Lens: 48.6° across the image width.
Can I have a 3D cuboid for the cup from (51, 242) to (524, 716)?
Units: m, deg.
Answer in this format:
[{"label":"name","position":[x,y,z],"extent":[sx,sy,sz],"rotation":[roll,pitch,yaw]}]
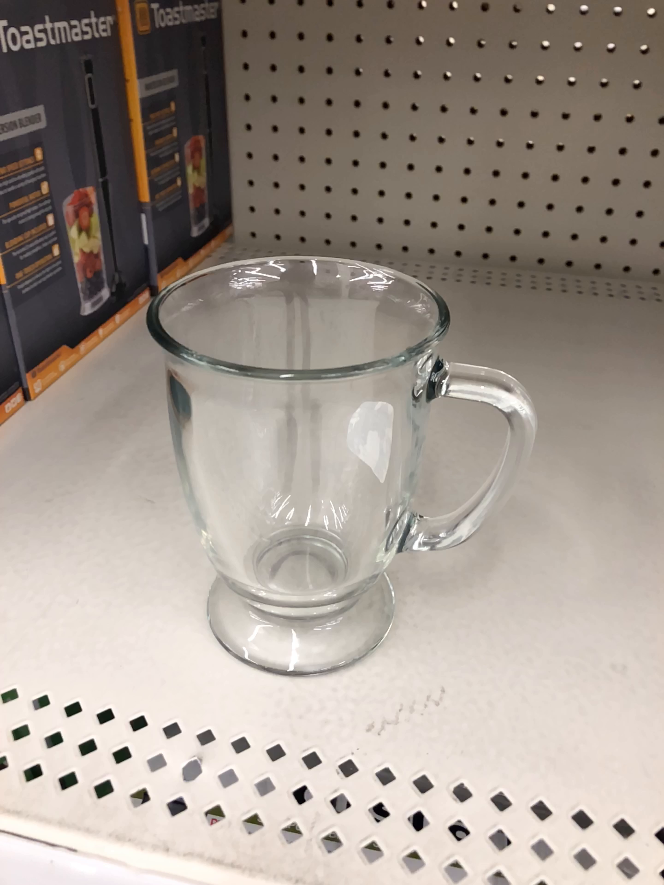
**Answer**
[{"label":"cup","position":[-0.005,0.006,0.288],"extent":[0.138,0.128,0.110],"rotation":[7,33,11]}]
